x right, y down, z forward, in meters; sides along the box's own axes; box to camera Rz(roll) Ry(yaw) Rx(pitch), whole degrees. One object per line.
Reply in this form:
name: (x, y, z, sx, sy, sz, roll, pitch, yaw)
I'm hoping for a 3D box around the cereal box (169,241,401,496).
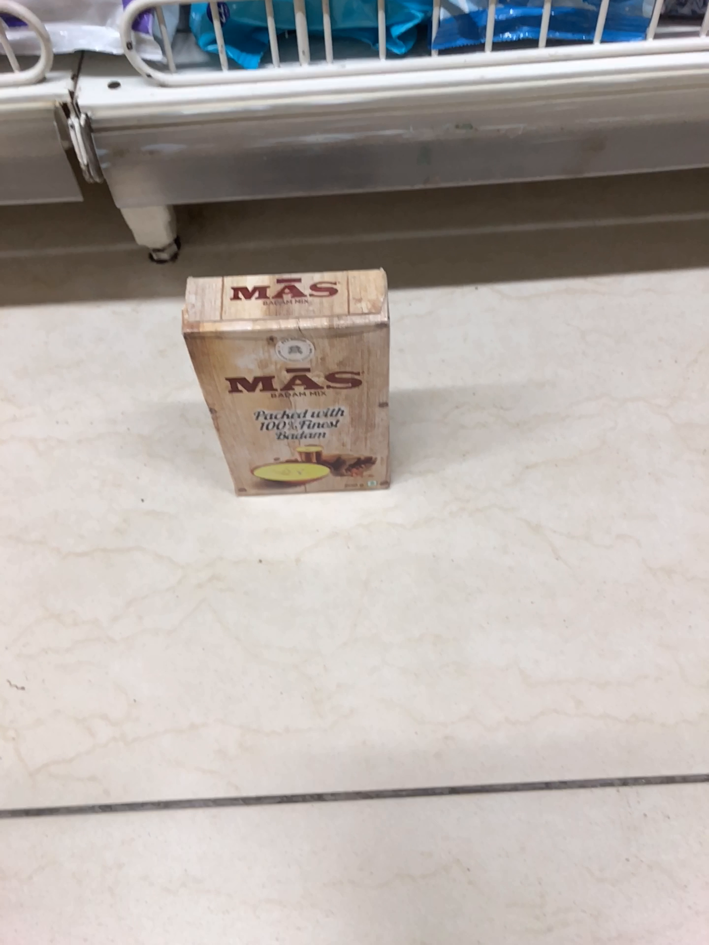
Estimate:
cereal box: (-0.025, -0.042, 0.370, 0.090, 0.129, 0.040, -3, 57, 0)
